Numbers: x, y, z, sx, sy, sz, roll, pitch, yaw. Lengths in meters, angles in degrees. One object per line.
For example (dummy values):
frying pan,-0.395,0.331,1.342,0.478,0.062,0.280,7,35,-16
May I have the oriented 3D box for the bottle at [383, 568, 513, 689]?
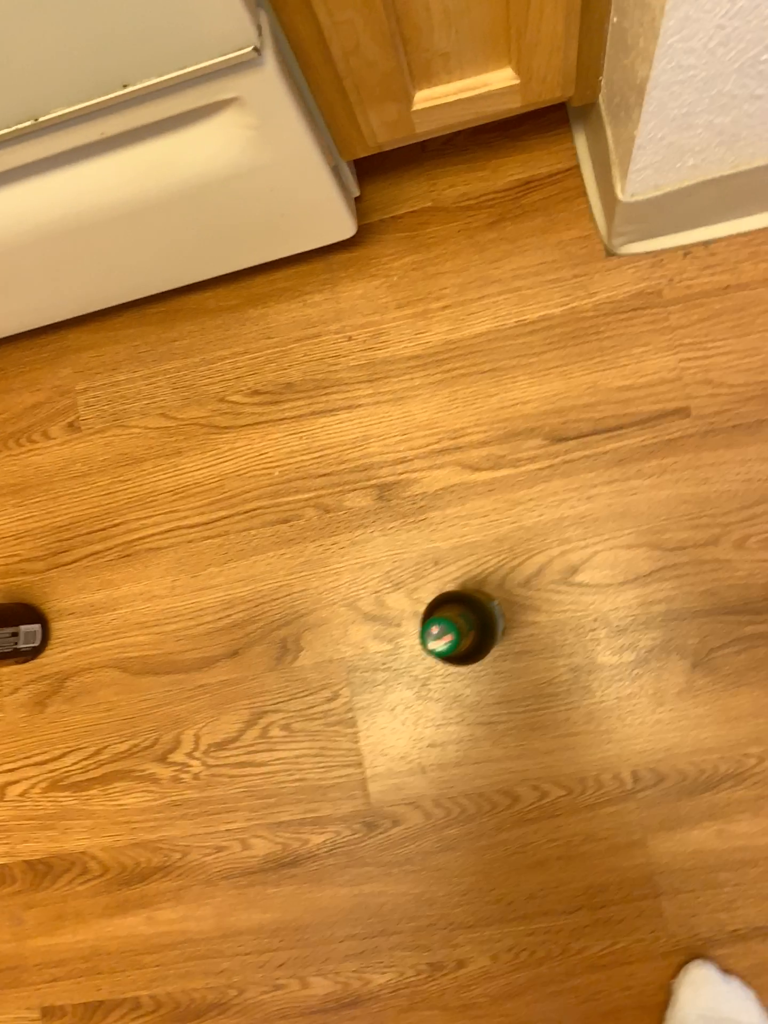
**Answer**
bottle,0.059,0.087,0.622,0.050,0.230,0.060,-39,79,6
